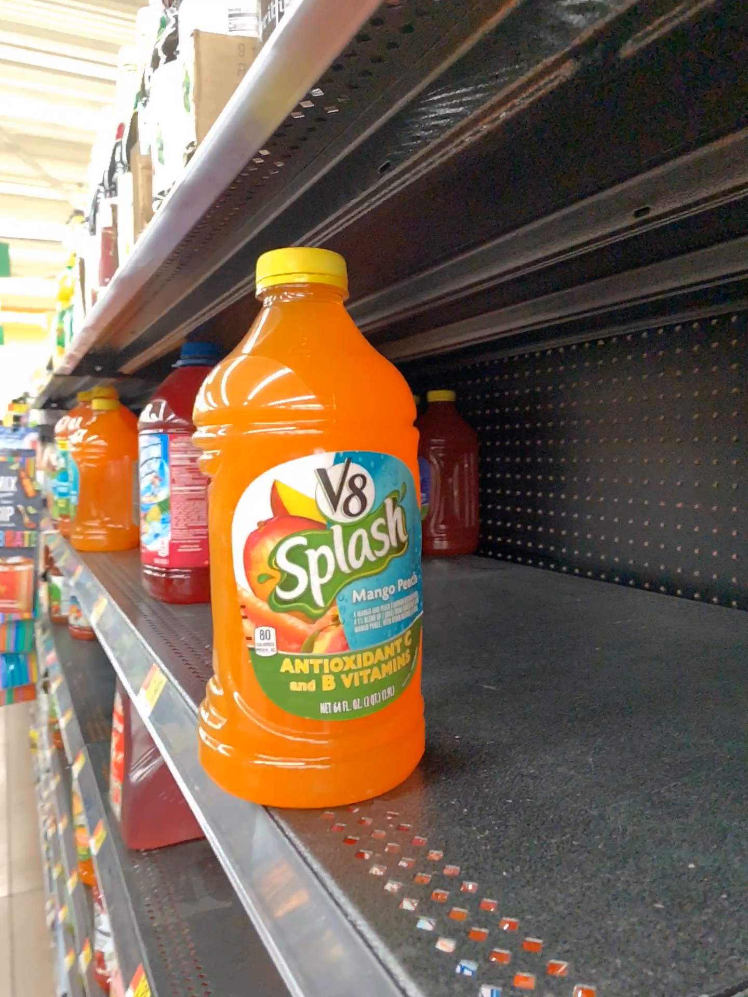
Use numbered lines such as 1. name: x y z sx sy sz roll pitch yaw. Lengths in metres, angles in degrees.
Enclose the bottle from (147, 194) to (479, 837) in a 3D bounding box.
1. bottle: -0.036 0.003 0.393 0.128 0.260 0.125 -1 3 0
